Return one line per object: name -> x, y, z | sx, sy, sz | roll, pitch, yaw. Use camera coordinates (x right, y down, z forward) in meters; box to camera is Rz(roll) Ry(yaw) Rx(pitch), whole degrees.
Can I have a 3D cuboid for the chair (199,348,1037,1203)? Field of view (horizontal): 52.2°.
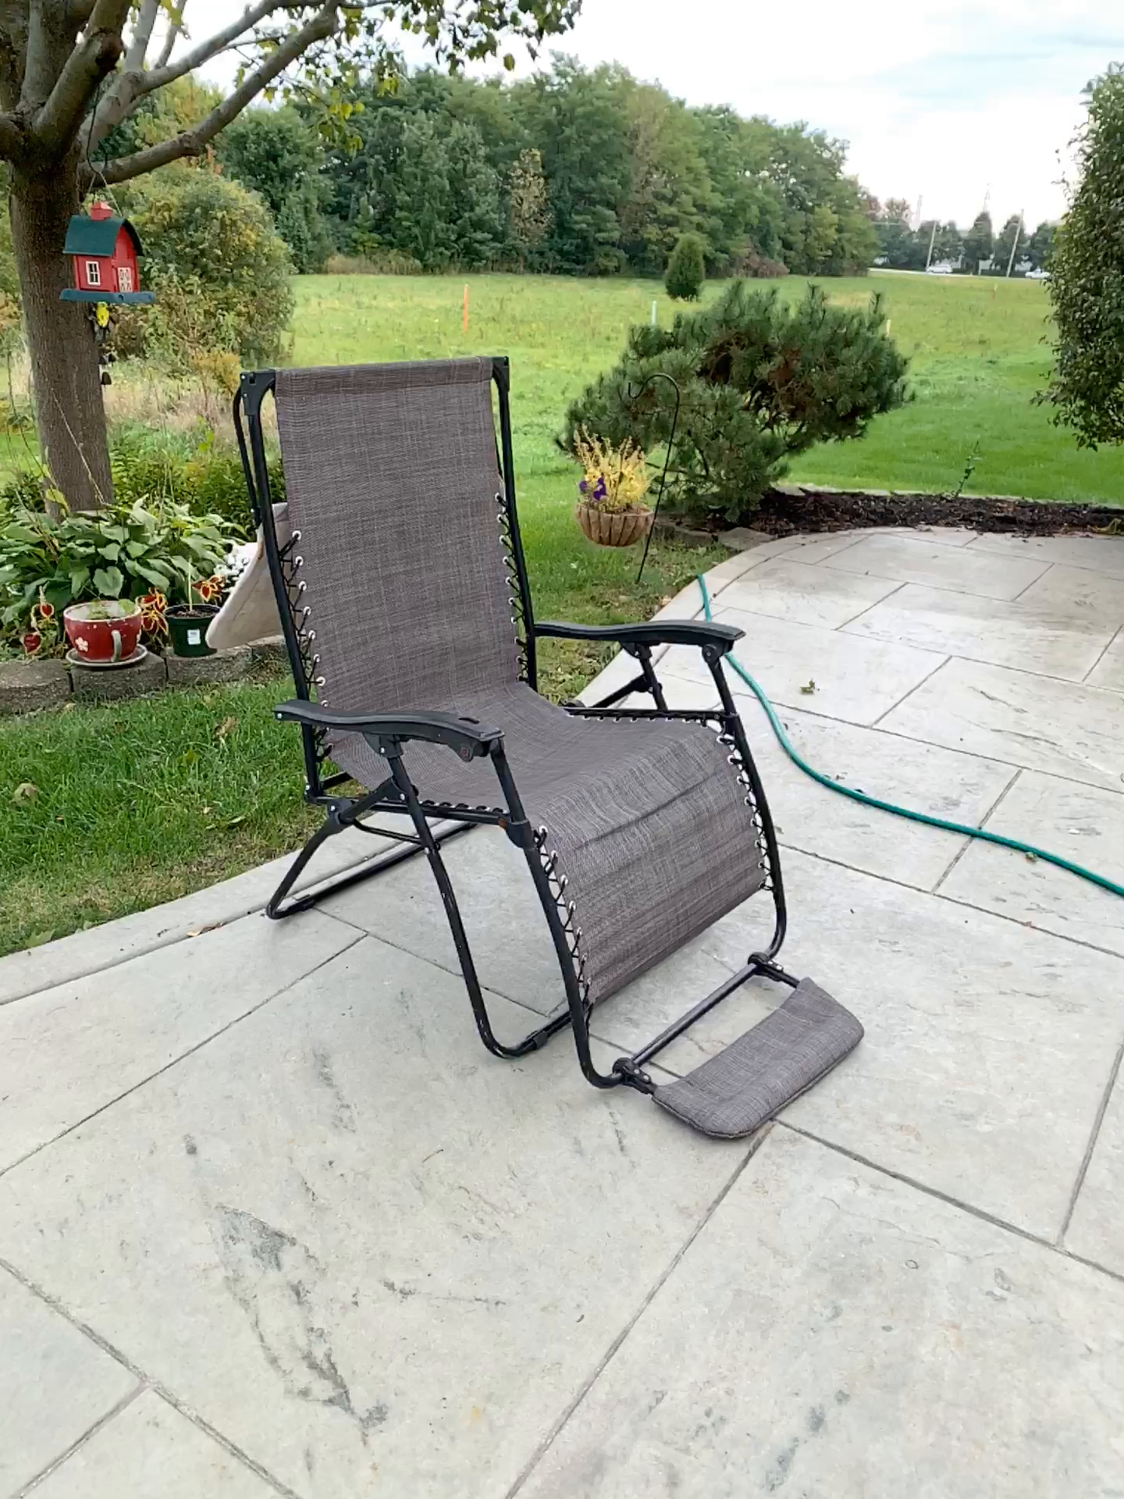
chair -> 0.040, -0.099, 2.064 | 1.147, 1.057, 0.745 | 21, 28, 34
